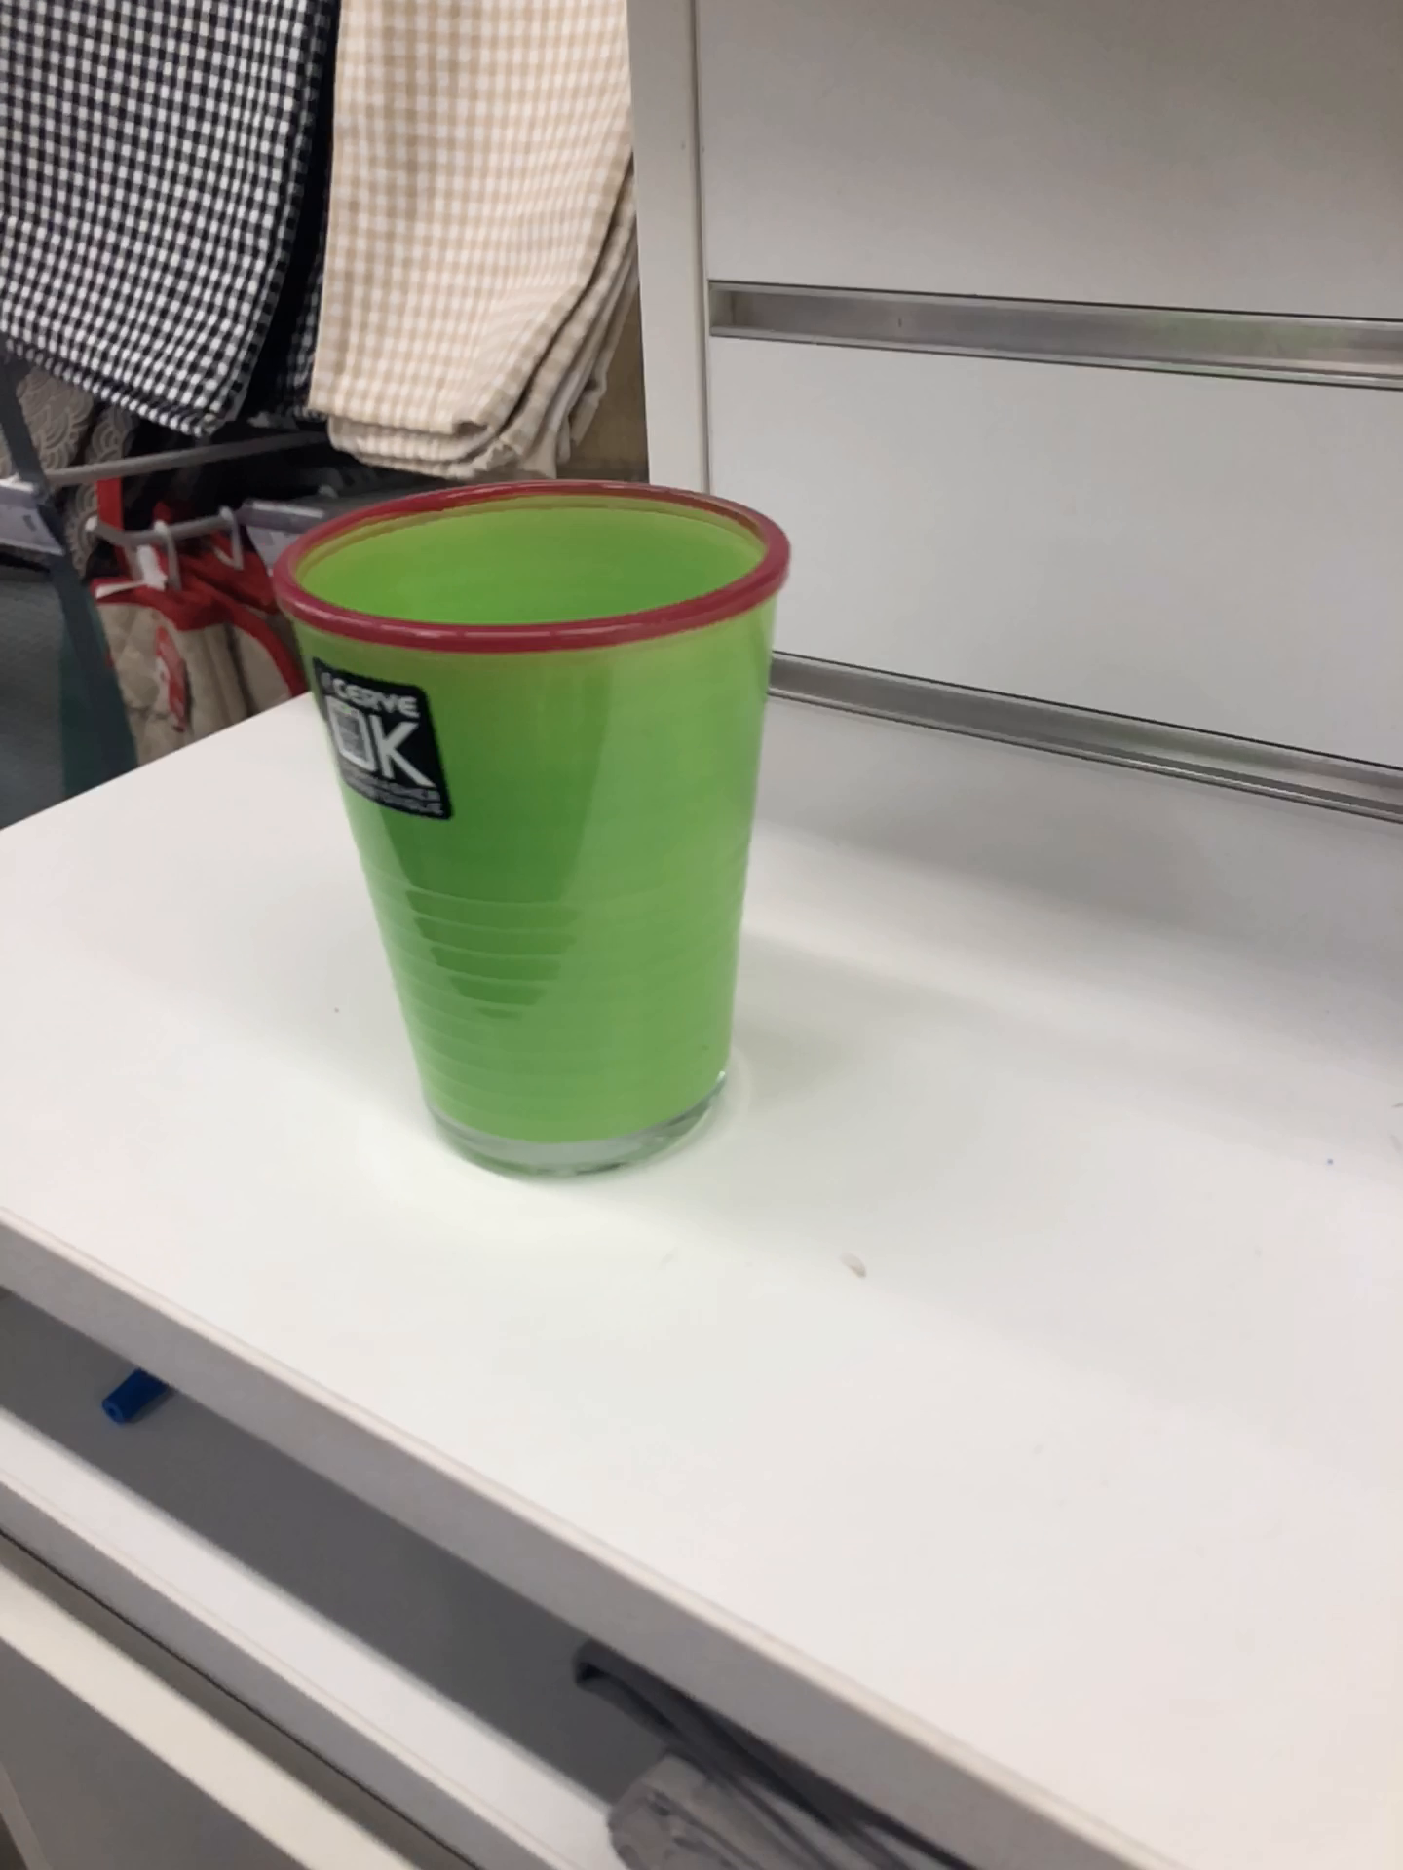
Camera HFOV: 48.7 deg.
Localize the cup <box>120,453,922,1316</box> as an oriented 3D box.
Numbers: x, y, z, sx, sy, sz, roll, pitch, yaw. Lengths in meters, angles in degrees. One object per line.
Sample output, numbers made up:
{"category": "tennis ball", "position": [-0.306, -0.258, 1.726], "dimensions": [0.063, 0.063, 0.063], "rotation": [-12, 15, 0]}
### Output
{"category": "cup", "position": [-0.024, -0.016, 0.254], "dimensions": [0.086, 0.098, 0.083], "rotation": [-2, 29, 1]}
